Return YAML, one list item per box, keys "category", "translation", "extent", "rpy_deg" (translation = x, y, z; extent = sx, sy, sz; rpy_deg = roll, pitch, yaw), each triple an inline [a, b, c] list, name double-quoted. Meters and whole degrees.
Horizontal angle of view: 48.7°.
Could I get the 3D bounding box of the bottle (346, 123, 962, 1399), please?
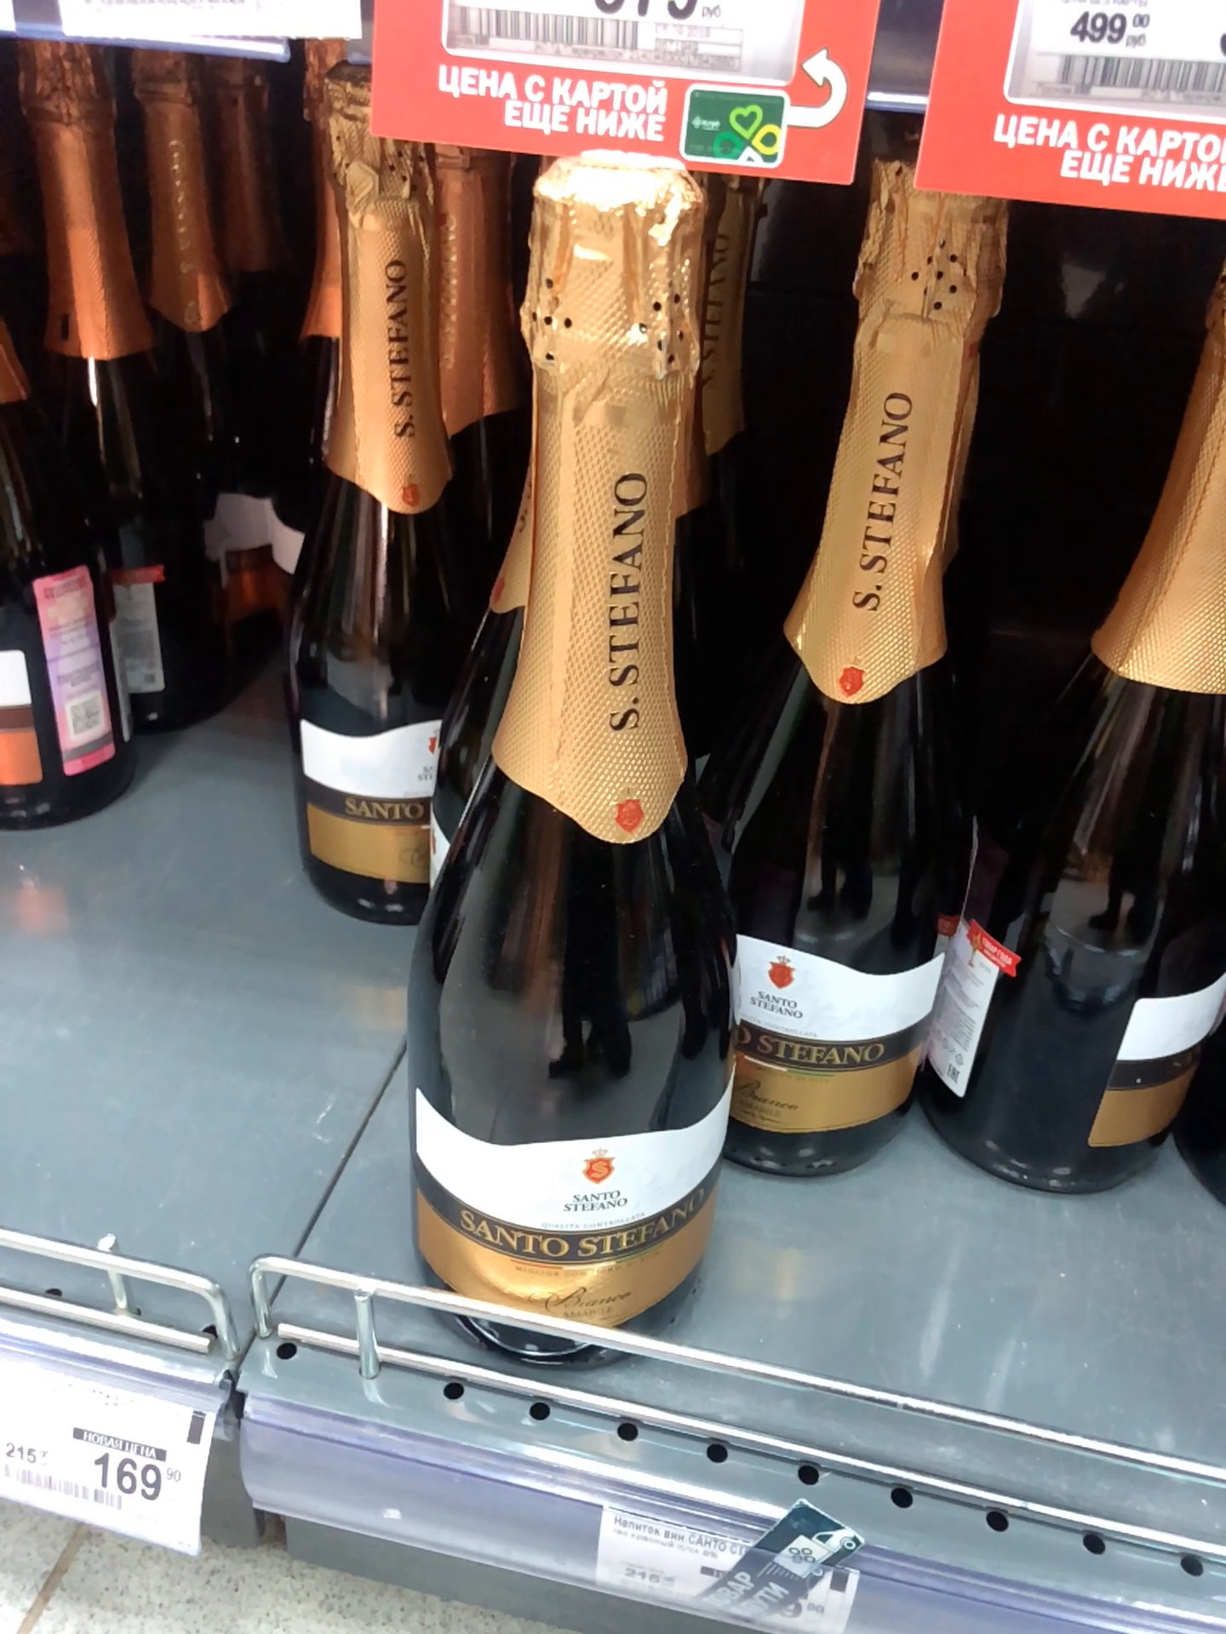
- category: "bottle"
  translation: [-0.008, 0.002, 0.335]
  extent: [0.100, 0.298, 0.090]
  rpy_deg: [-3, 32, -12]
